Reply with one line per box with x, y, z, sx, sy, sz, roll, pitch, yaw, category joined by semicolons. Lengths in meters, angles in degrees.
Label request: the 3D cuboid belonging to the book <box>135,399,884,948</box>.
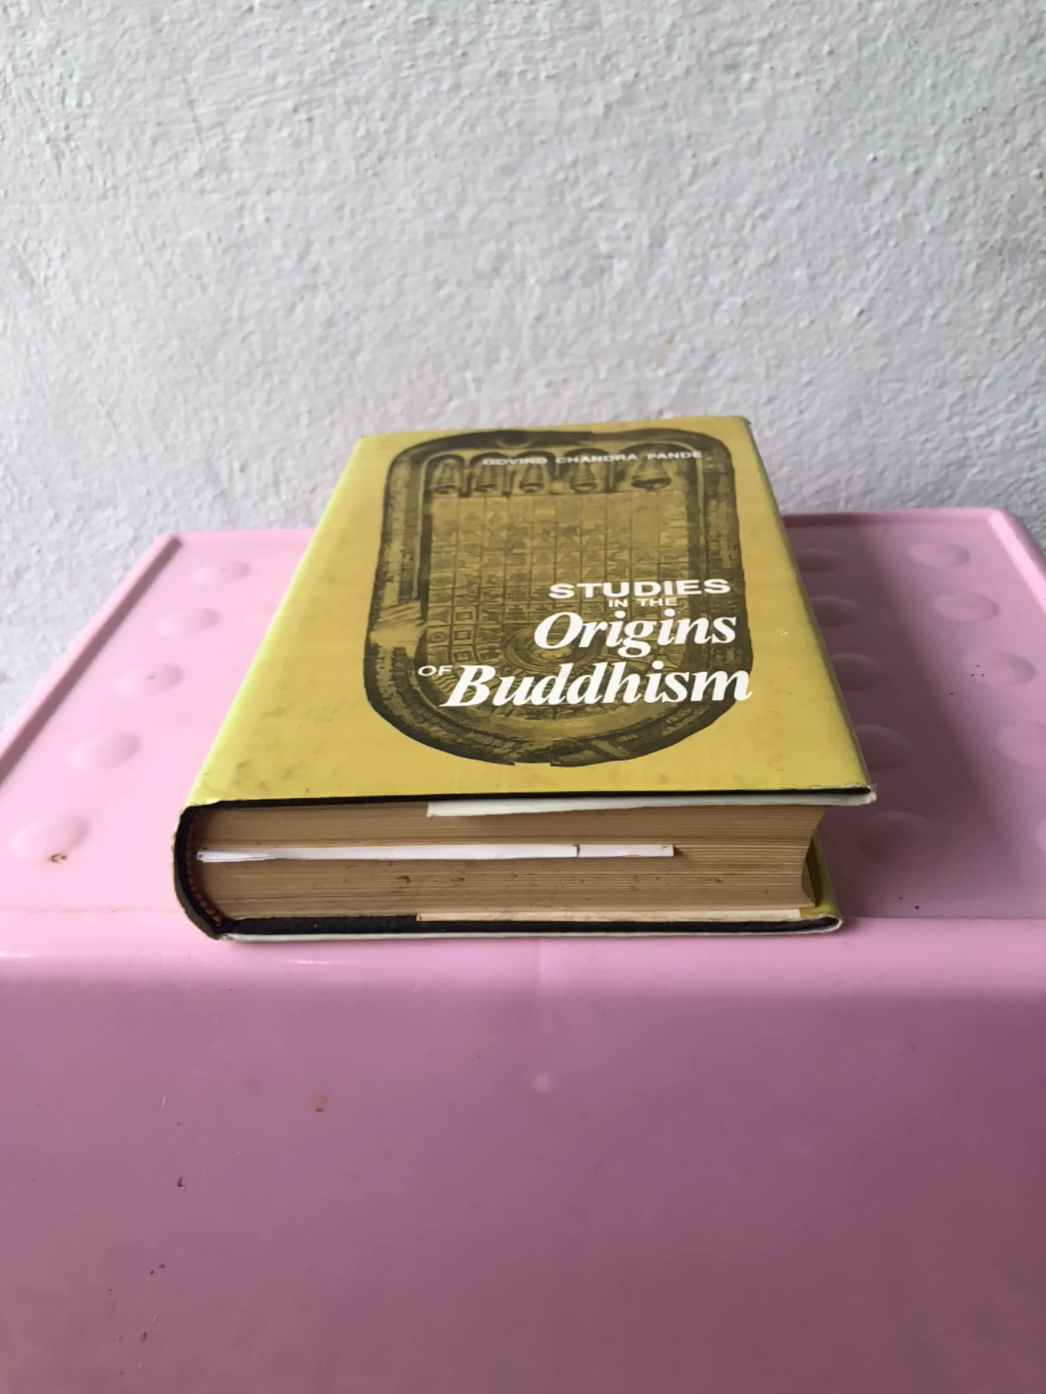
0.003;-0.028;0.345;0.150;0.040;0.241;0;33;4;book
